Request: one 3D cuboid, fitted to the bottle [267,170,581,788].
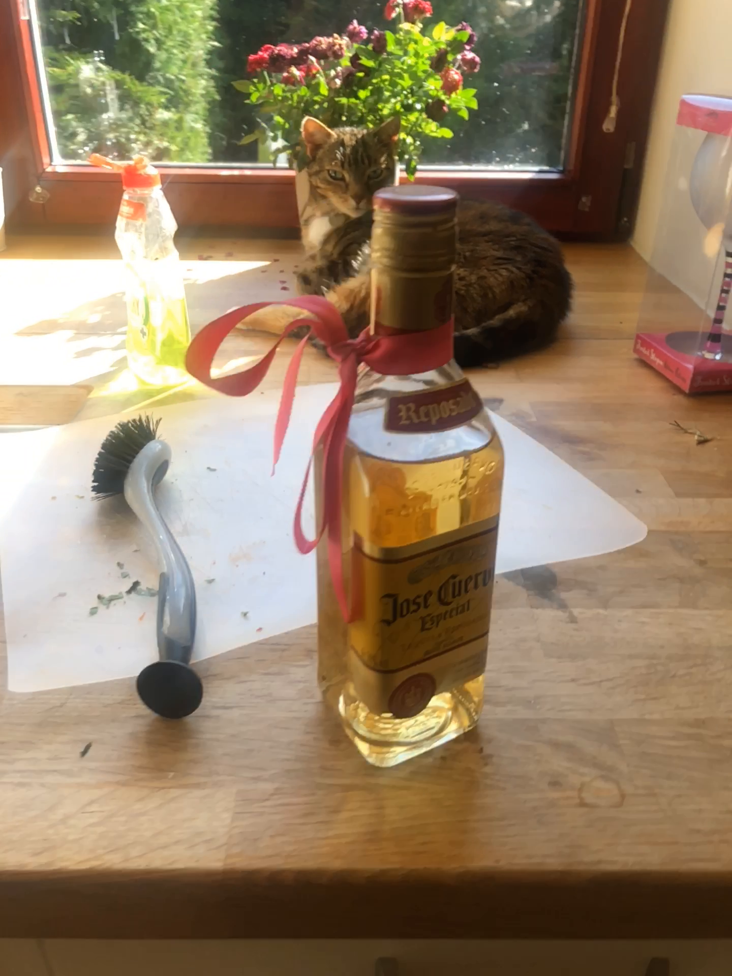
[{"bbox_3d":[0.017,0.000,0.327,0.080,0.228,0.070,-16,33,-28],"label":"bottle"}]
